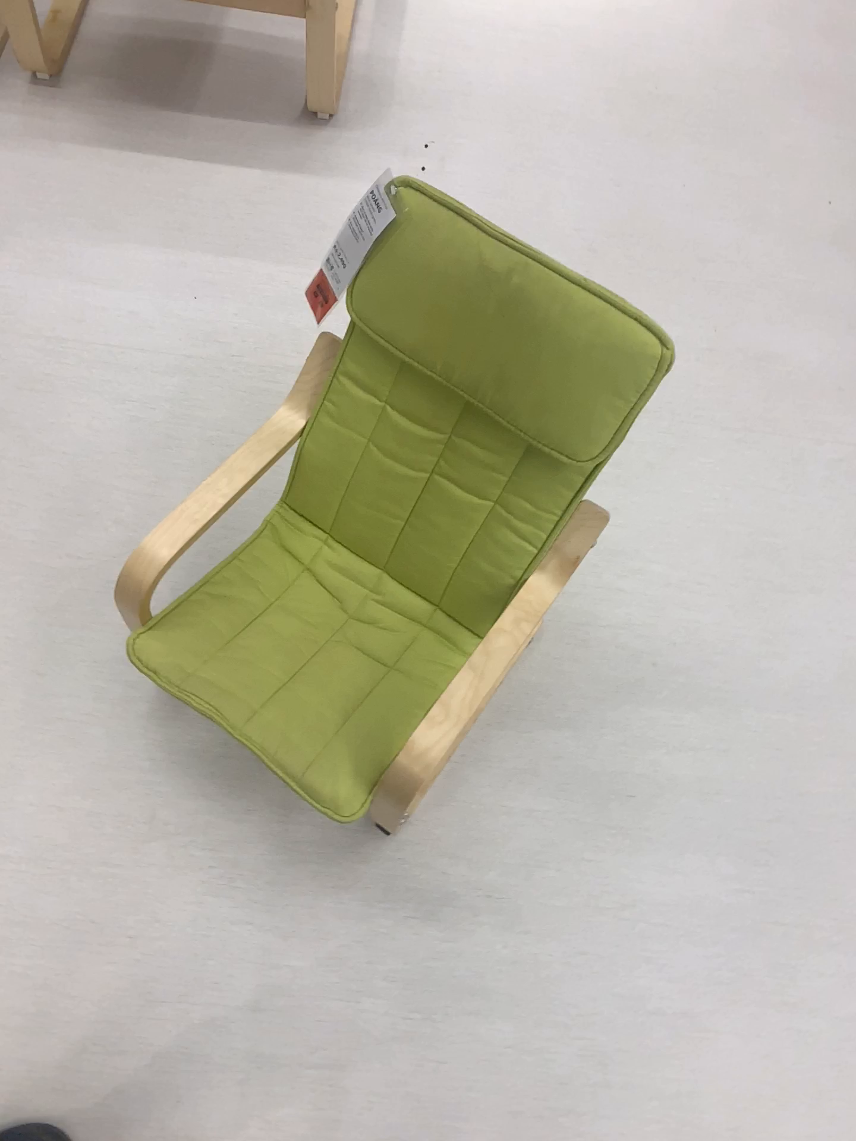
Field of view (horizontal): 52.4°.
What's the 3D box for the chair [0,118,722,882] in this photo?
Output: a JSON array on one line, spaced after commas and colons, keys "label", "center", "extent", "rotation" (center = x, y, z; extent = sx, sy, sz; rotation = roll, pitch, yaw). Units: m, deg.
[{"label": "chair", "center": [-0.103, -0.003, 1.220], "extent": [0.520, 0.819, 0.570], "rotation": [33, 66, 9]}]
